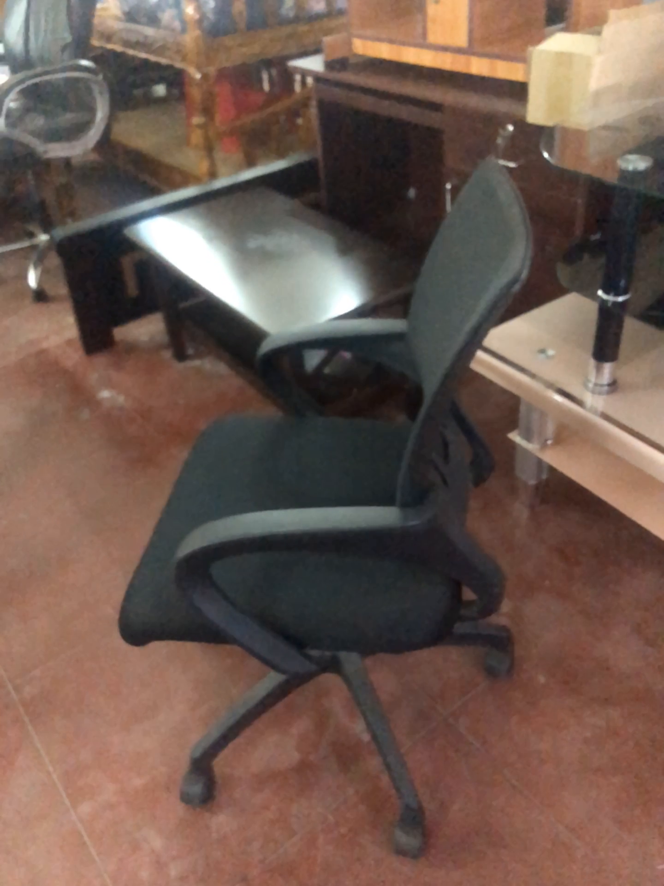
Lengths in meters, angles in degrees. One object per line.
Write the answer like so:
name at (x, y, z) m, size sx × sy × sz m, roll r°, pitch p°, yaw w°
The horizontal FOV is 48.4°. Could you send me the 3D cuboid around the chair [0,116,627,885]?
chair at (-0.007, 0.078, 1.184) m, size 0.630 × 0.915 × 0.754 m, roll 0°, pitch 38°, yaw 8°
